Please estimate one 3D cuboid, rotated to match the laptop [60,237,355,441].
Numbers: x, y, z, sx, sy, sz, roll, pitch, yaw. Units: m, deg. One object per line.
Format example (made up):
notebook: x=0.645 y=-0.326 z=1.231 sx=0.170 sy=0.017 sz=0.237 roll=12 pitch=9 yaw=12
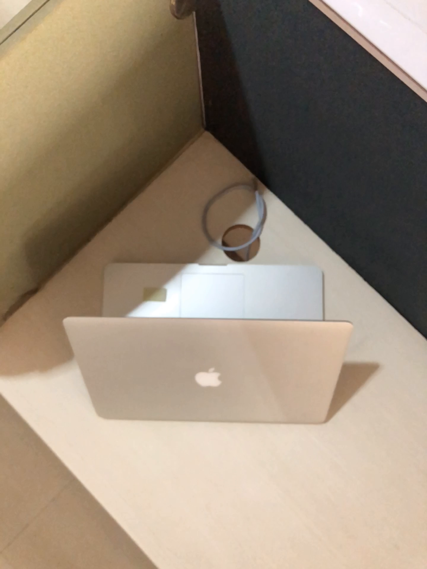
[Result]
laptop: x=-0.003 y=0.075 z=0.665 sx=0.343 sy=0.199 sz=0.234 roll=1 pitch=83 yaw=1
